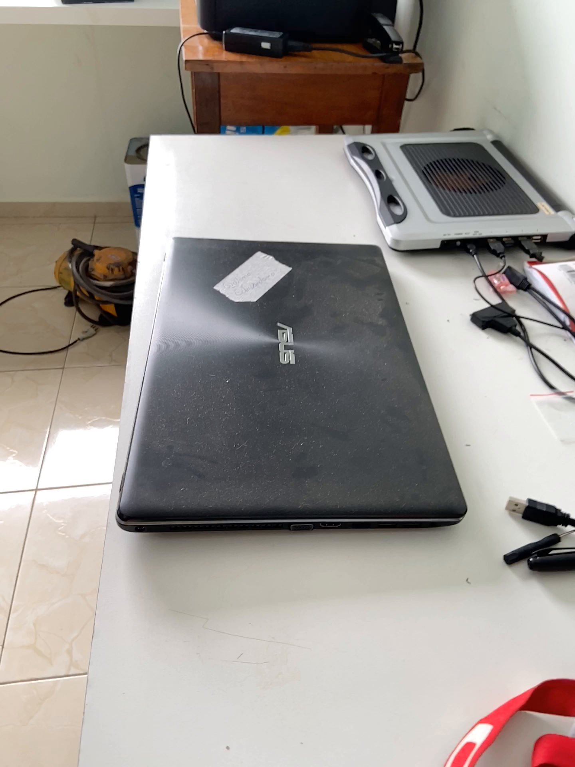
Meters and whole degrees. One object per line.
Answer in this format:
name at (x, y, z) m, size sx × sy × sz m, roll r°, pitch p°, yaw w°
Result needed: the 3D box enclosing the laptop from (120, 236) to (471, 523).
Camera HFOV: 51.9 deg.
laptop at (-0.003, -0.036, 0.564) m, size 0.250 × 0.007 × 0.387 m, roll 1°, pitch 43°, yaw -5°
